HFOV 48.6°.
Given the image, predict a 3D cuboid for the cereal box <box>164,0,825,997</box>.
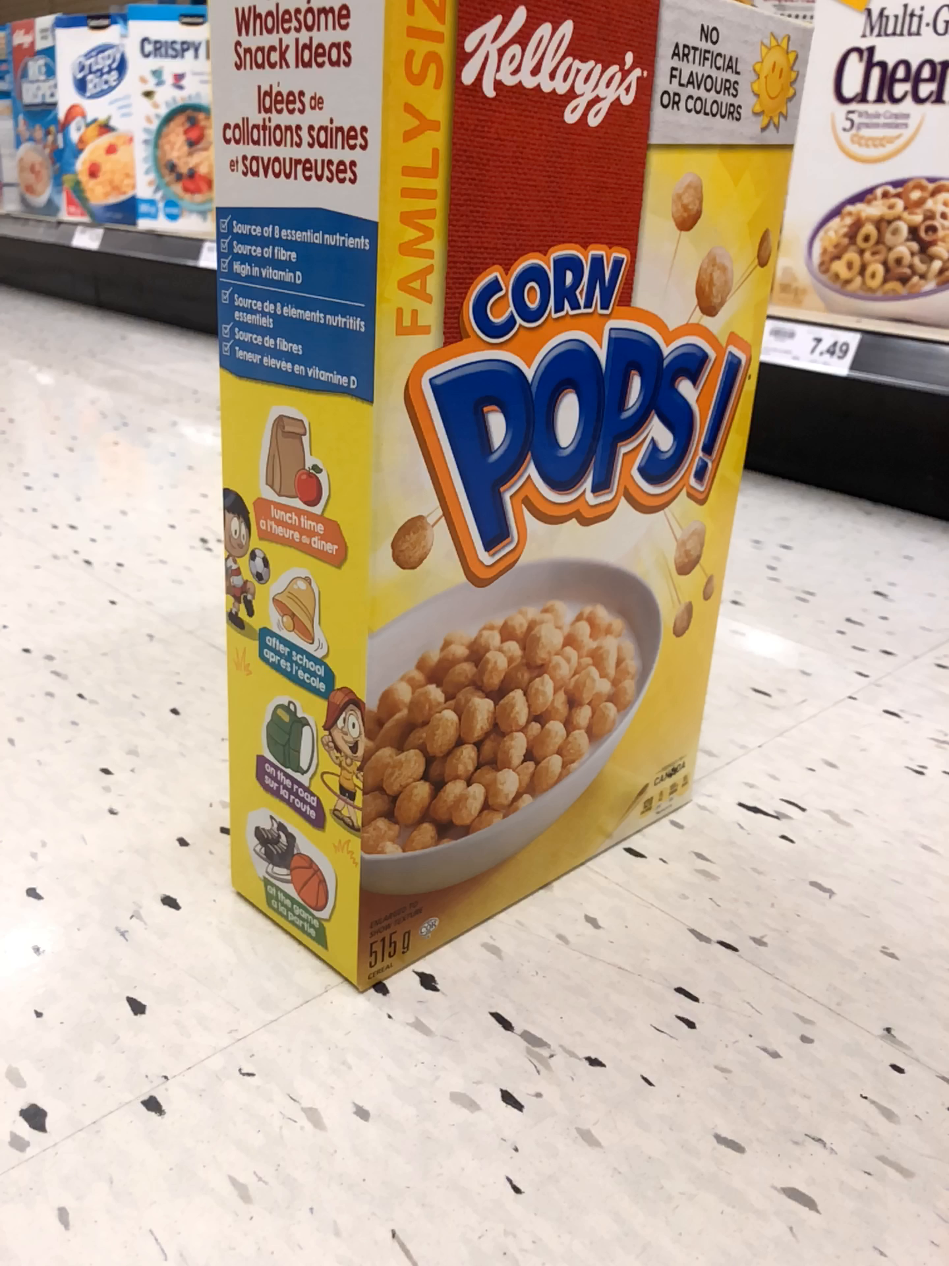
[{"bbox_3d":[0.007,-0.064,0.393,0.100,0.318,0.201,23,29,40],"label":"cereal box"}]
